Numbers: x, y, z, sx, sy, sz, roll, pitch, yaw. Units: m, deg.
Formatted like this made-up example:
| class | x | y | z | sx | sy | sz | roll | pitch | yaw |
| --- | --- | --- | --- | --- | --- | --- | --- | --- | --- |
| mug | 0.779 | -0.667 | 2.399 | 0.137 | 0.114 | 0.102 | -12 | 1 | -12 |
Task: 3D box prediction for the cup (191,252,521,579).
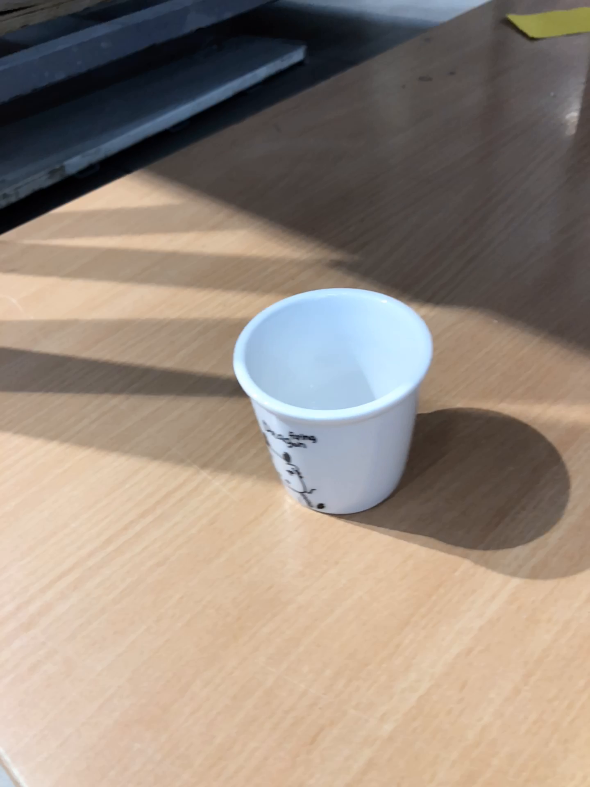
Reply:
| class | x | y | z | sx | sy | sz | roll | pitch | yaw |
| --- | --- | --- | --- | --- | --- | --- | --- | --- | --- |
| cup | 0.023 | 0.003 | 0.247 | 0.080 | 0.060 | 0.080 | -4 | 43 | 4 |
